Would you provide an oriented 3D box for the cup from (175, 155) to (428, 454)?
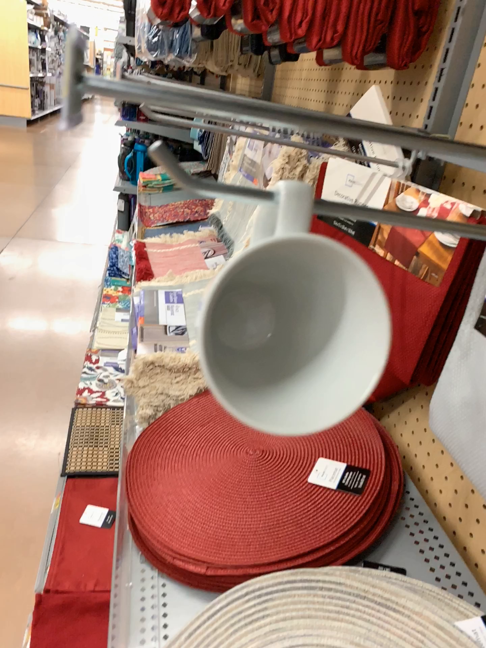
[{"bbox_3d":[0.014,-0.017,0.272,0.090,0.120,0.140,3,12,-11],"label":"cup"}]
